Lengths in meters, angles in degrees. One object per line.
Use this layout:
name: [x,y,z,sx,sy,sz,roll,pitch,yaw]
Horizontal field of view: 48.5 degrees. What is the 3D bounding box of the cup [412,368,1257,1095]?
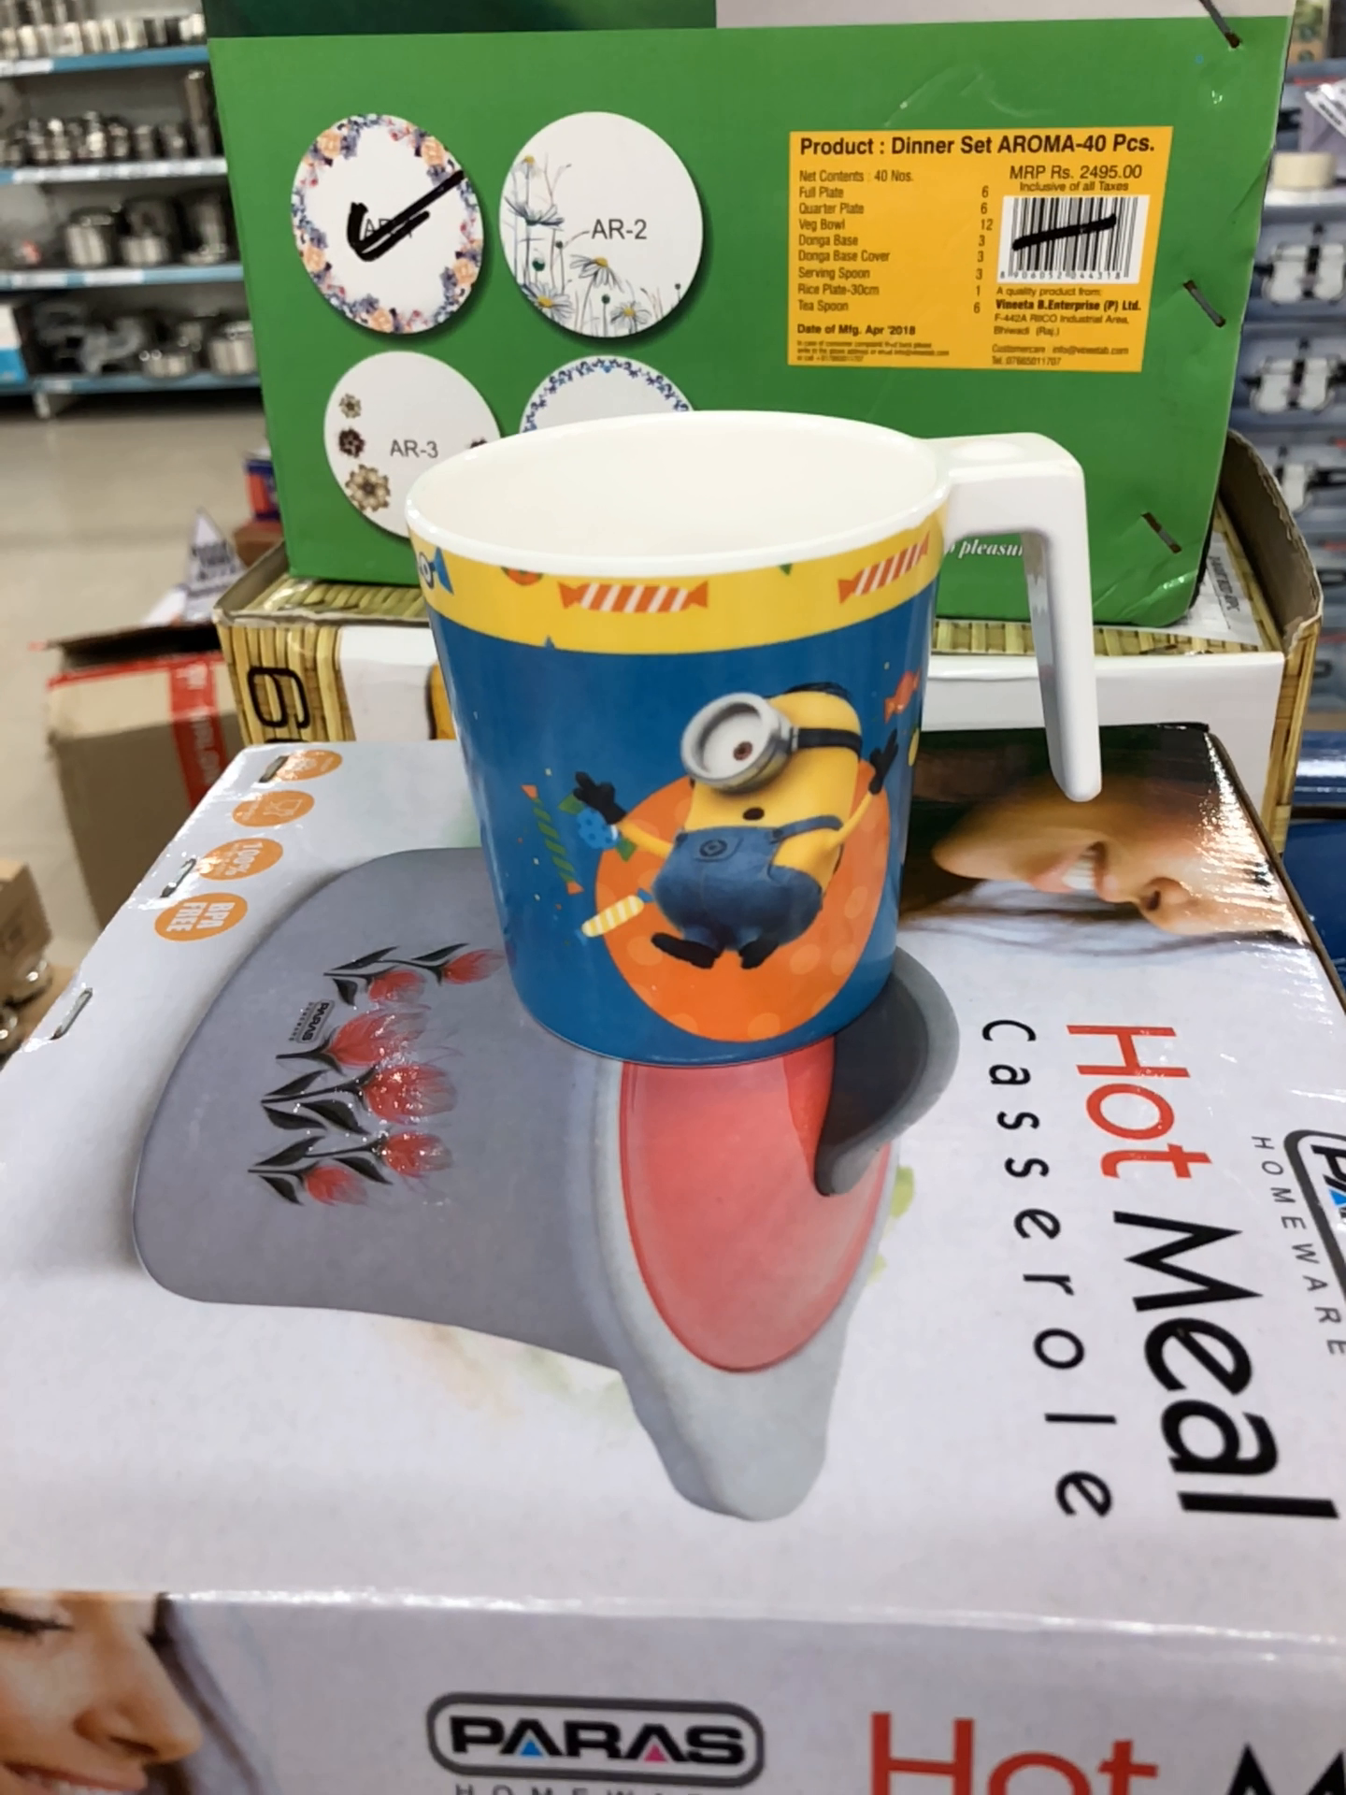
cup: [0.019,-0.032,0.246,0.110,0.079,0.080,-8,31,-7]
